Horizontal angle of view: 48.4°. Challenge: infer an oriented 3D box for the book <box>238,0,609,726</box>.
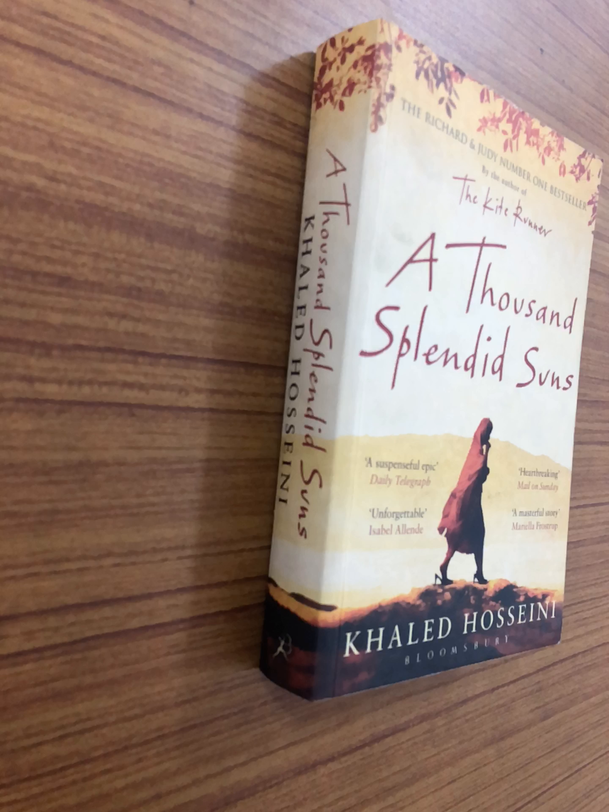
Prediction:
[{"bbox_3d":[0.053,-0.007,0.232,0.141,0.030,0.190,7,89,-41],"label":"book"}]
